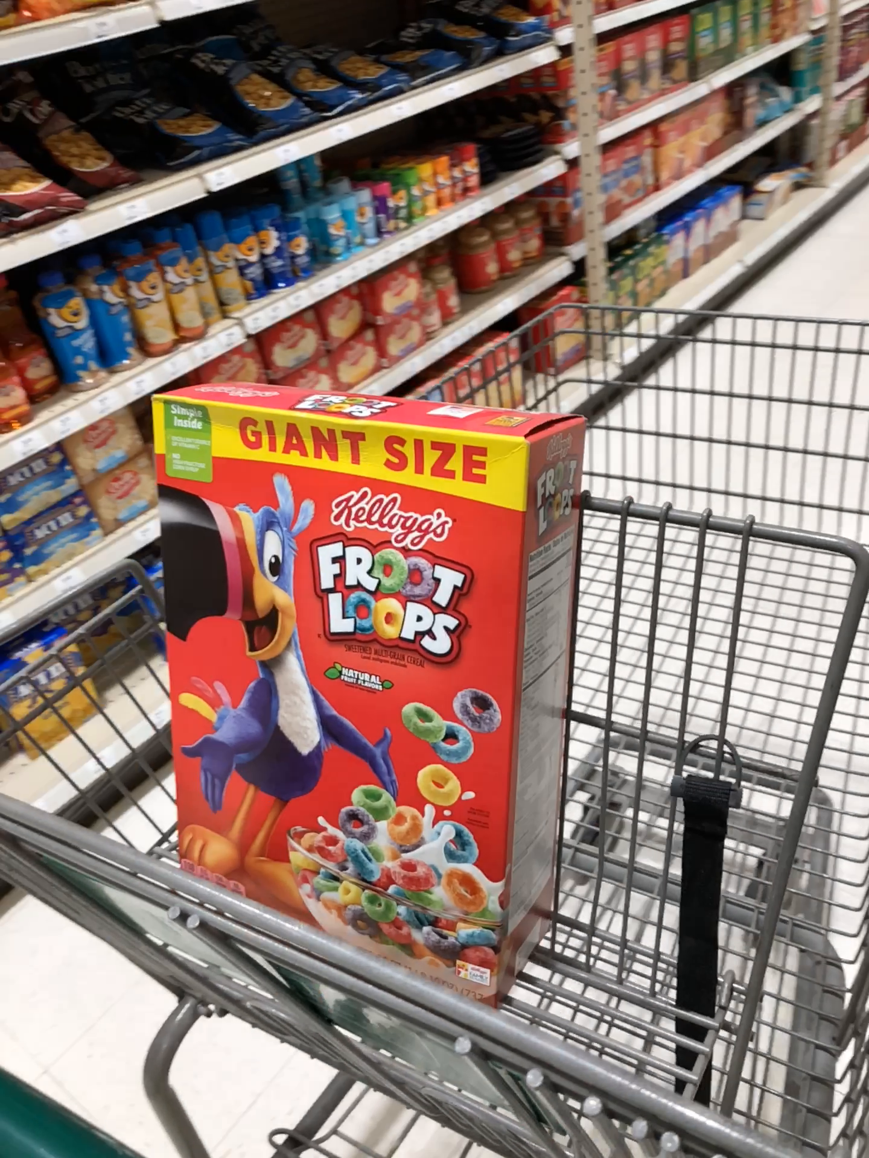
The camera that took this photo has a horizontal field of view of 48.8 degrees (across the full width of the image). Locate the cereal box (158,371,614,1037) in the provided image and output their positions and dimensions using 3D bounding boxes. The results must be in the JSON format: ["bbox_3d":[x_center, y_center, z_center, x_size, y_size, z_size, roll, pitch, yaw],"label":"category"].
[{"bbox_3d":[-0.041,0.067,0.621,0.260,0.369,0.090,11,19,26],"label":"cereal box"}]
